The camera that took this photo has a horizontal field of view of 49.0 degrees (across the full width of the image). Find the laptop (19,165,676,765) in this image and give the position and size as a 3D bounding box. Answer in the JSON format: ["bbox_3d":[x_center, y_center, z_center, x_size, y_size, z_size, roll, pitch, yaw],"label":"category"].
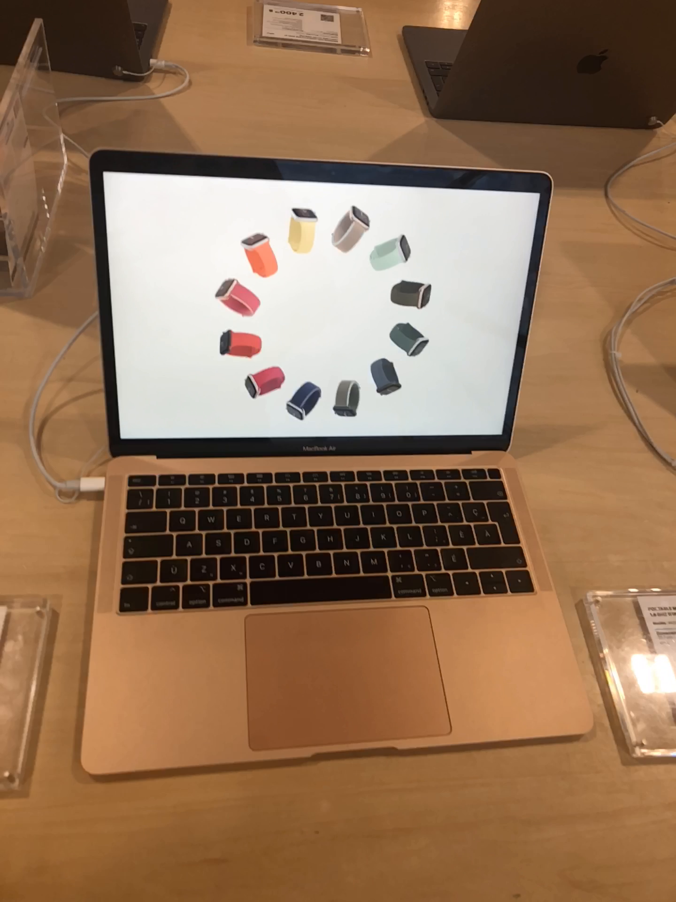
[{"bbox_3d":[0.003,-0.001,0.442,0.289,0.167,0.298,0,52,-10],"label":"laptop"}]
